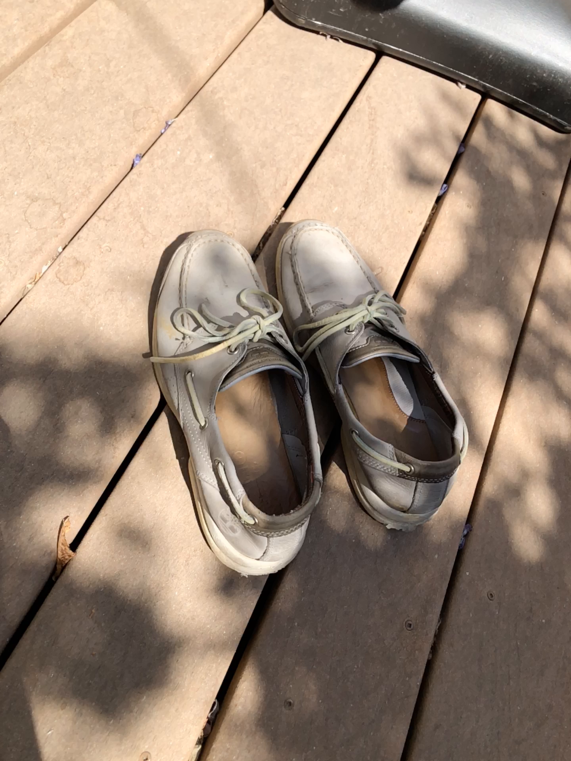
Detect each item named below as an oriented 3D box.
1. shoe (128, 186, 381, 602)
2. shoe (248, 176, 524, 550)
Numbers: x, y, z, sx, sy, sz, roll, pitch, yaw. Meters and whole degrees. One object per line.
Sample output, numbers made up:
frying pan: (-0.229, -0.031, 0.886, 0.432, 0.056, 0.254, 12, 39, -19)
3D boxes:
shoe: (-0.036, -0.003, 0.471, 0.109, 0.076, 0.293, -6, 68, -22)
shoe: (0.070, -0.026, 0.521, 0.109, 0.076, 0.293, -10, 69, -24)
